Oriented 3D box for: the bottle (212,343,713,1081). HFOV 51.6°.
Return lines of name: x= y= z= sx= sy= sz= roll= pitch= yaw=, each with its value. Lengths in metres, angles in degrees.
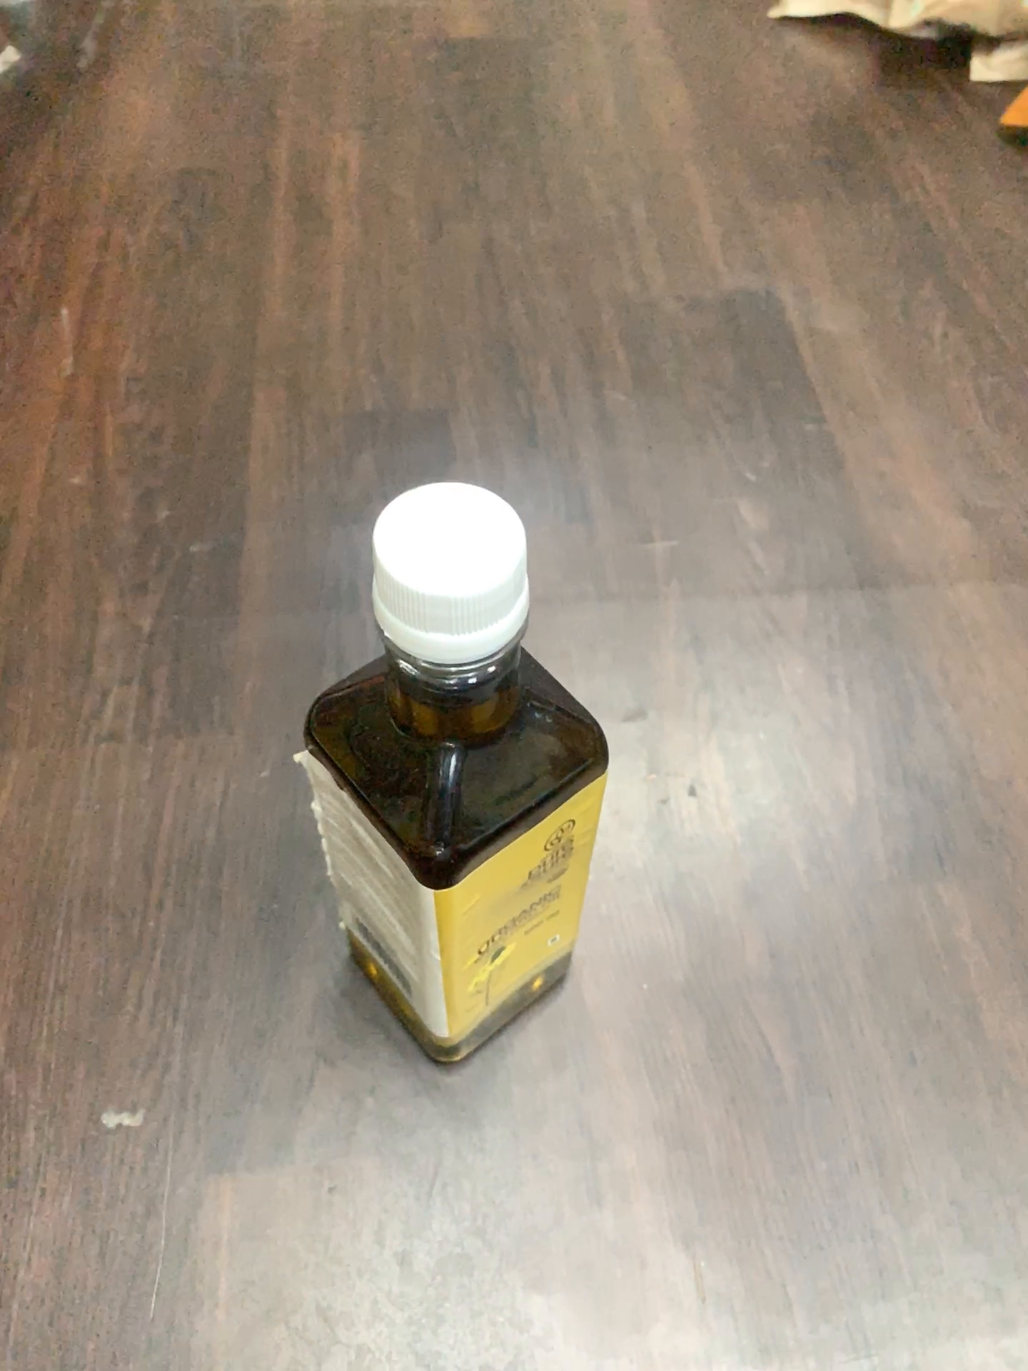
bottle: x=-0.013 y=0.027 z=0.280 sx=0.070 sy=0.209 sz=0.060 roll=-34 pitch=62 yaw=-24
